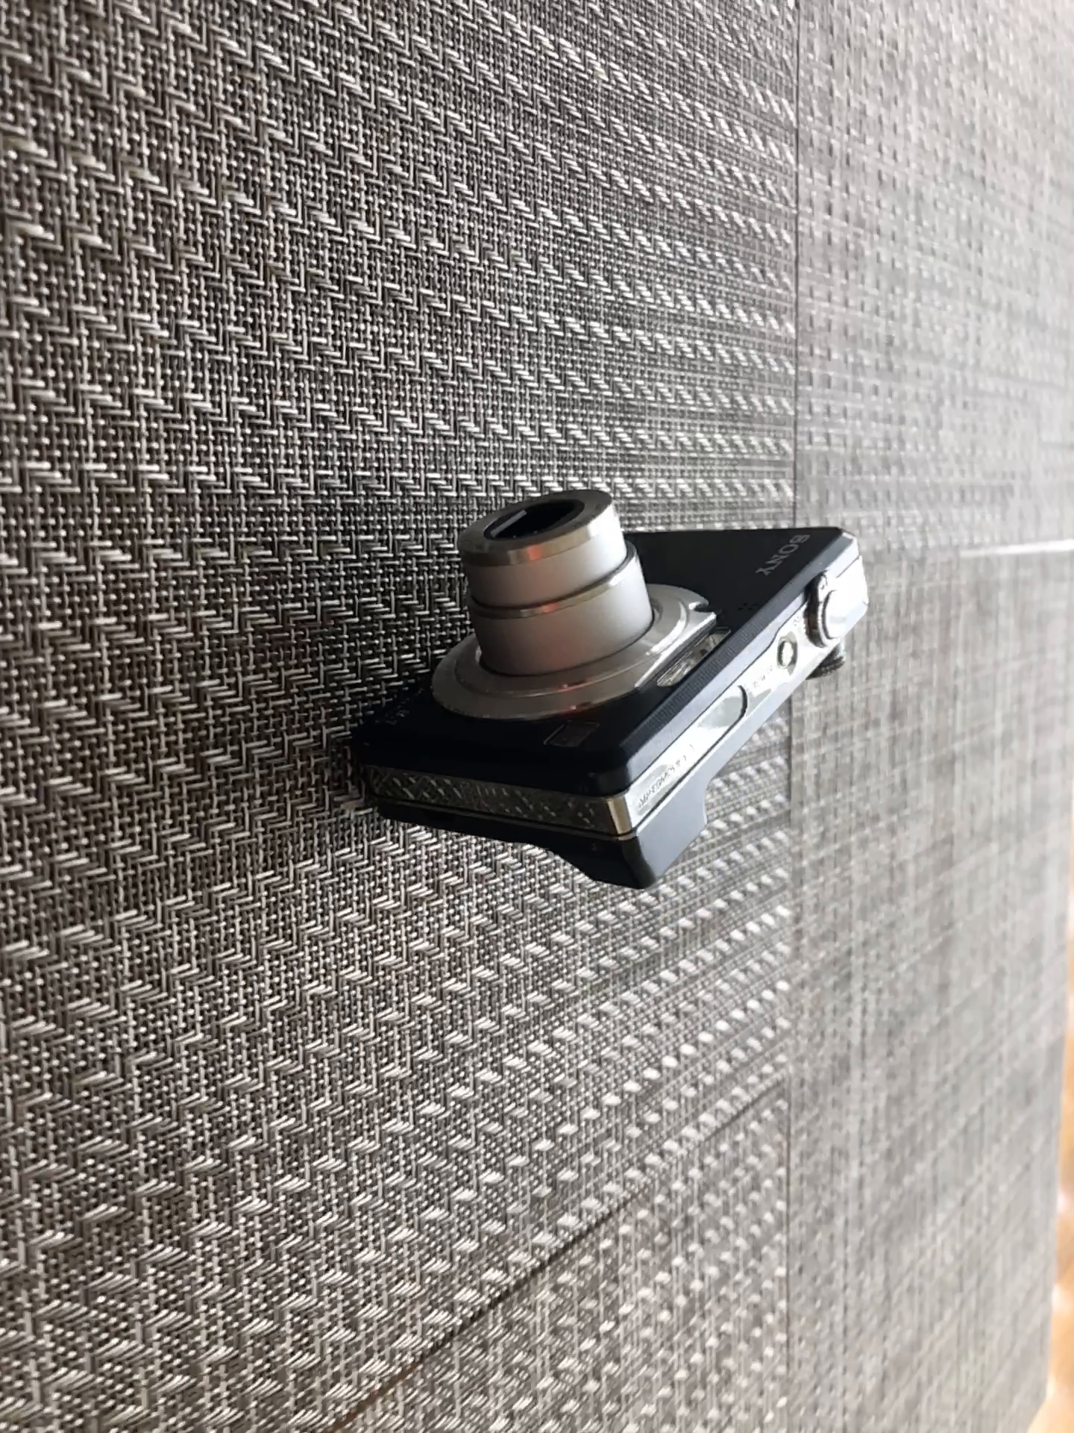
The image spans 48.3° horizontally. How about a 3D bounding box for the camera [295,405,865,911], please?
[{"bbox_3d":[0.014,-0.017,0.222,0.096,0.052,0.049,-41,125,-41],"label":"camera"}]
